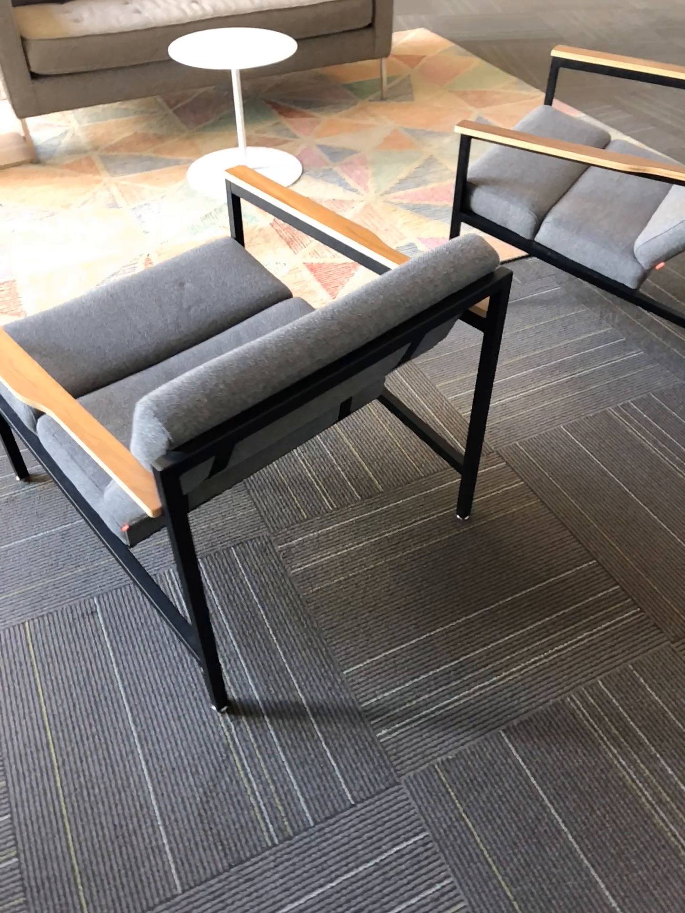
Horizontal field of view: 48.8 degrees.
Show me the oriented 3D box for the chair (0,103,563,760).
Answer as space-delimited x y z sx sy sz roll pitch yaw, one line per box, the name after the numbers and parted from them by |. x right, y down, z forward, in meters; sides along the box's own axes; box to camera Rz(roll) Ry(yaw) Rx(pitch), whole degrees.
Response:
-0.237 -0.145 1.516 0.791 0.697 0.923 -34 51 -30 | chair
